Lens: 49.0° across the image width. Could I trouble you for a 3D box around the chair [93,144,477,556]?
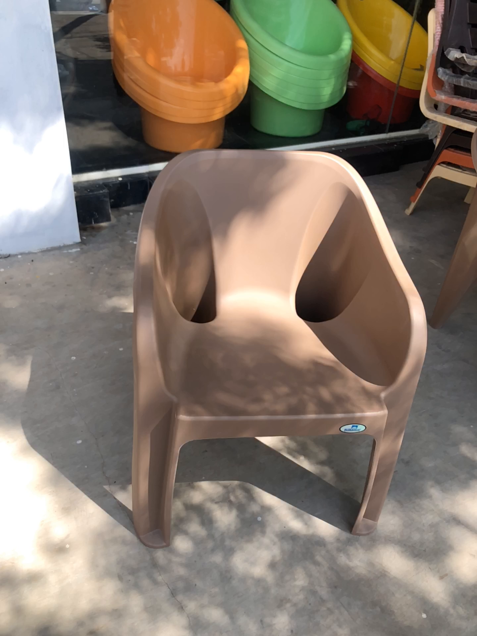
[{"bbox_3d":[0.055,0.031,1.255,0.640,0.636,0.724,-1,37,-7],"label":"chair"}]
